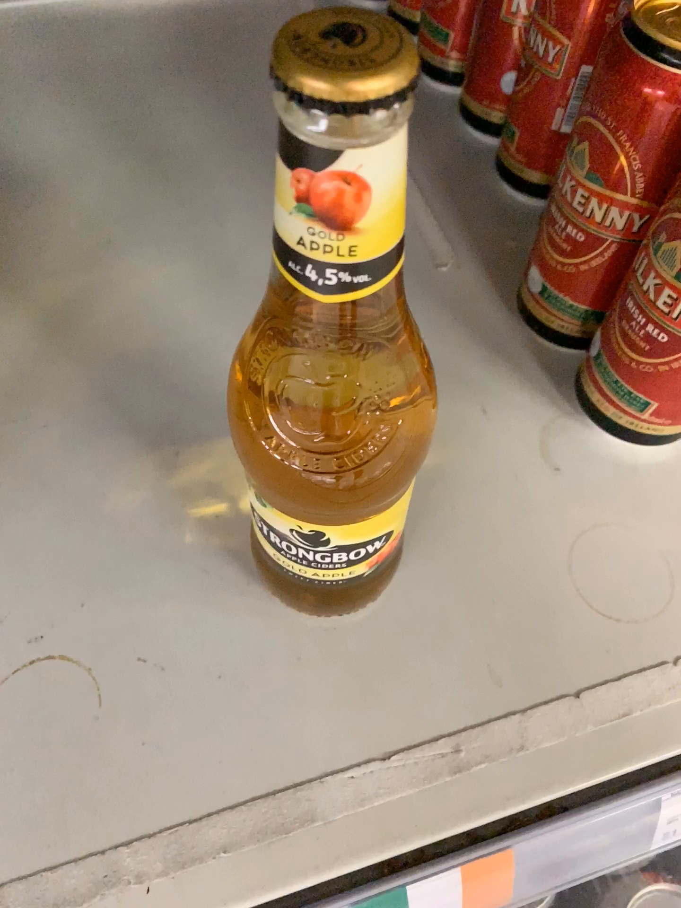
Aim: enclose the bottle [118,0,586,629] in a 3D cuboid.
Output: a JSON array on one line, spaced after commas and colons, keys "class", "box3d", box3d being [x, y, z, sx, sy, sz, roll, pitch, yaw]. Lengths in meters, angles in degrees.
[{"class": "bottle", "box3d": [0.002, -0.028, 0.243, 0.080, 0.239, 0.080, 2, 57, -3]}]
